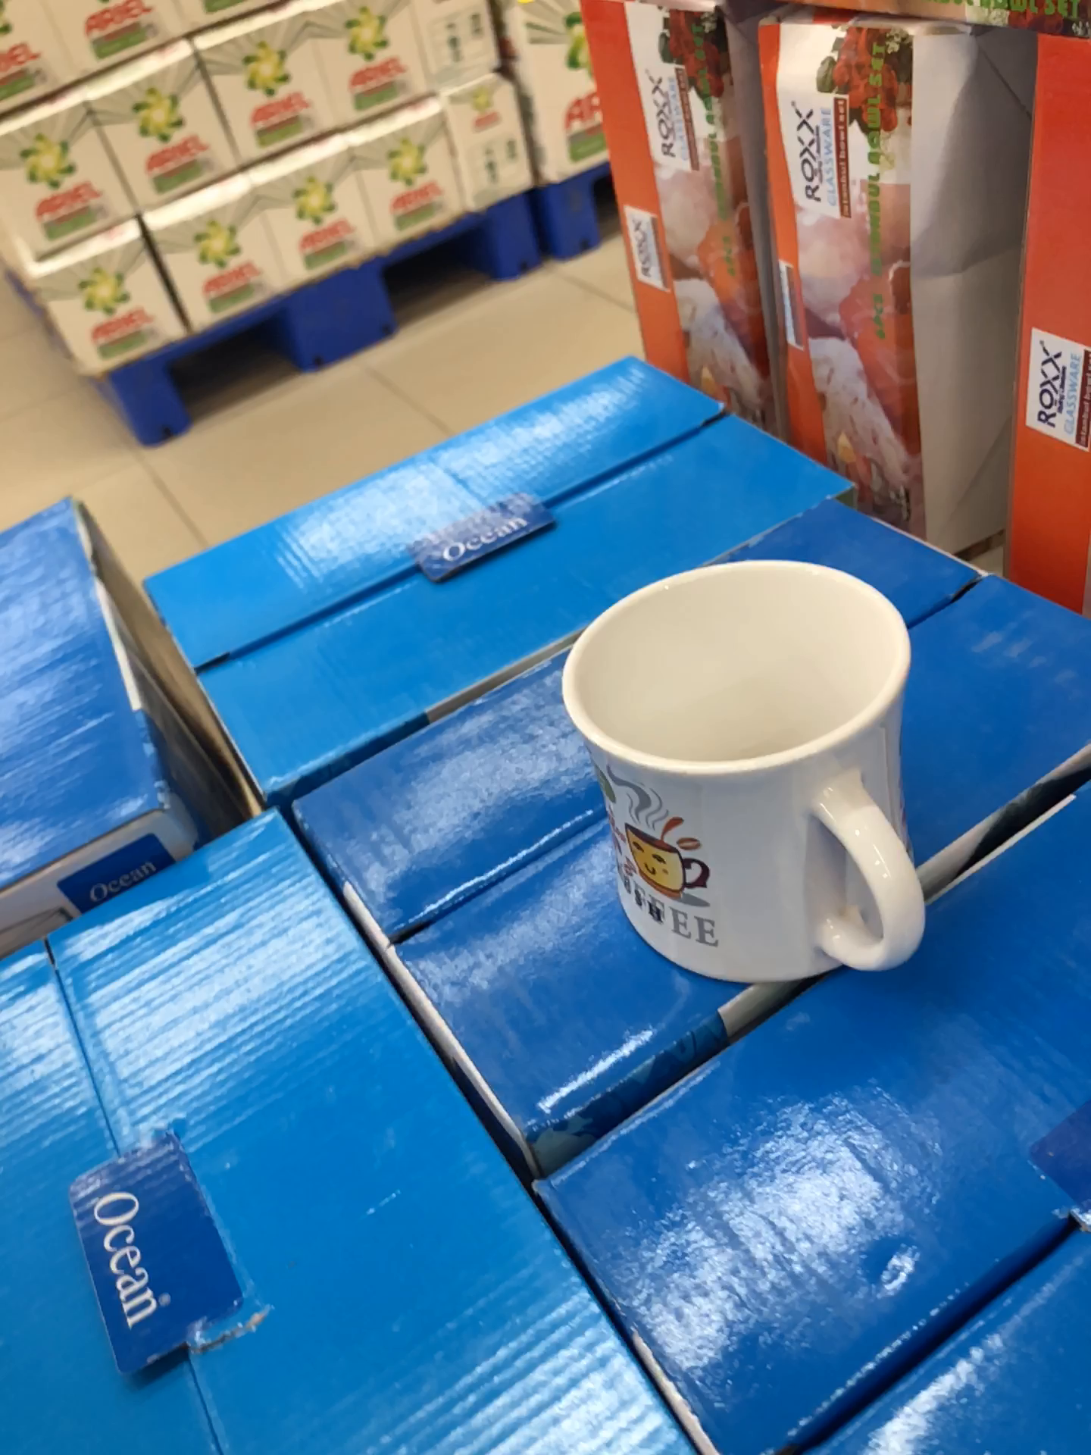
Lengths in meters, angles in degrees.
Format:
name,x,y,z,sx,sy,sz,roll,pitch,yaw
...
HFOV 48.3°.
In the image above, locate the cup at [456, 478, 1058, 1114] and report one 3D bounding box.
name,x,y,z,sx,sy,sz,roll,pitch,yaw
cup,0.042,0.009,0.261,0.070,0.070,0.100,-30,43,-15
